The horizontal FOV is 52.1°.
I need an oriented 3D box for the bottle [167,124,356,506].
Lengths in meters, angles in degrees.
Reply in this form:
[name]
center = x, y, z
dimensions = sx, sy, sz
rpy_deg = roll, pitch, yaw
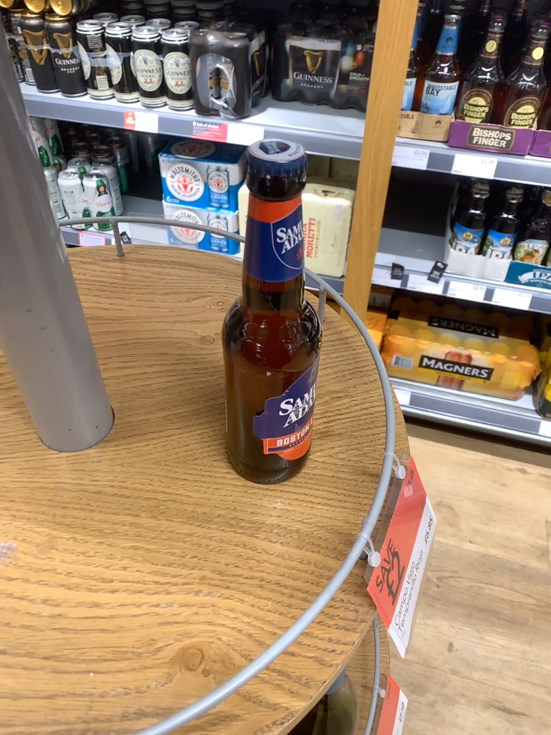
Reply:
[bottle]
center = -0.006, -0.015, 0.321
dimensions = 0.061, 0.211, 0.063
rpy_deg = 1, 44, -1
